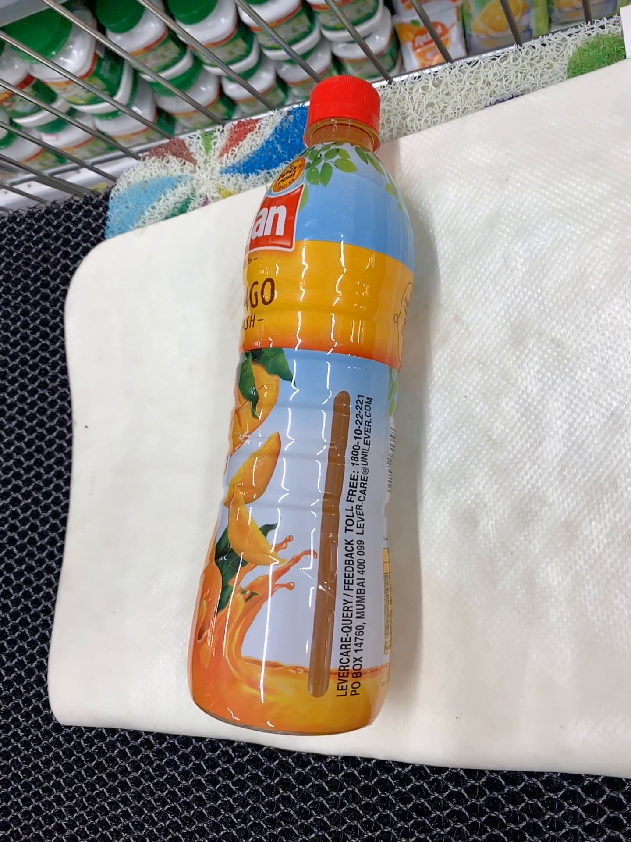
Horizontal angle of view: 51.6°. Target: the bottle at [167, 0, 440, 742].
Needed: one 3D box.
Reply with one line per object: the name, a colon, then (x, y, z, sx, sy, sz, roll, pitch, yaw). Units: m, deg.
bottle: (-0.006, -0.016, 0.240, 0.080, 0.070, 0.230, 2, 88, -8)
